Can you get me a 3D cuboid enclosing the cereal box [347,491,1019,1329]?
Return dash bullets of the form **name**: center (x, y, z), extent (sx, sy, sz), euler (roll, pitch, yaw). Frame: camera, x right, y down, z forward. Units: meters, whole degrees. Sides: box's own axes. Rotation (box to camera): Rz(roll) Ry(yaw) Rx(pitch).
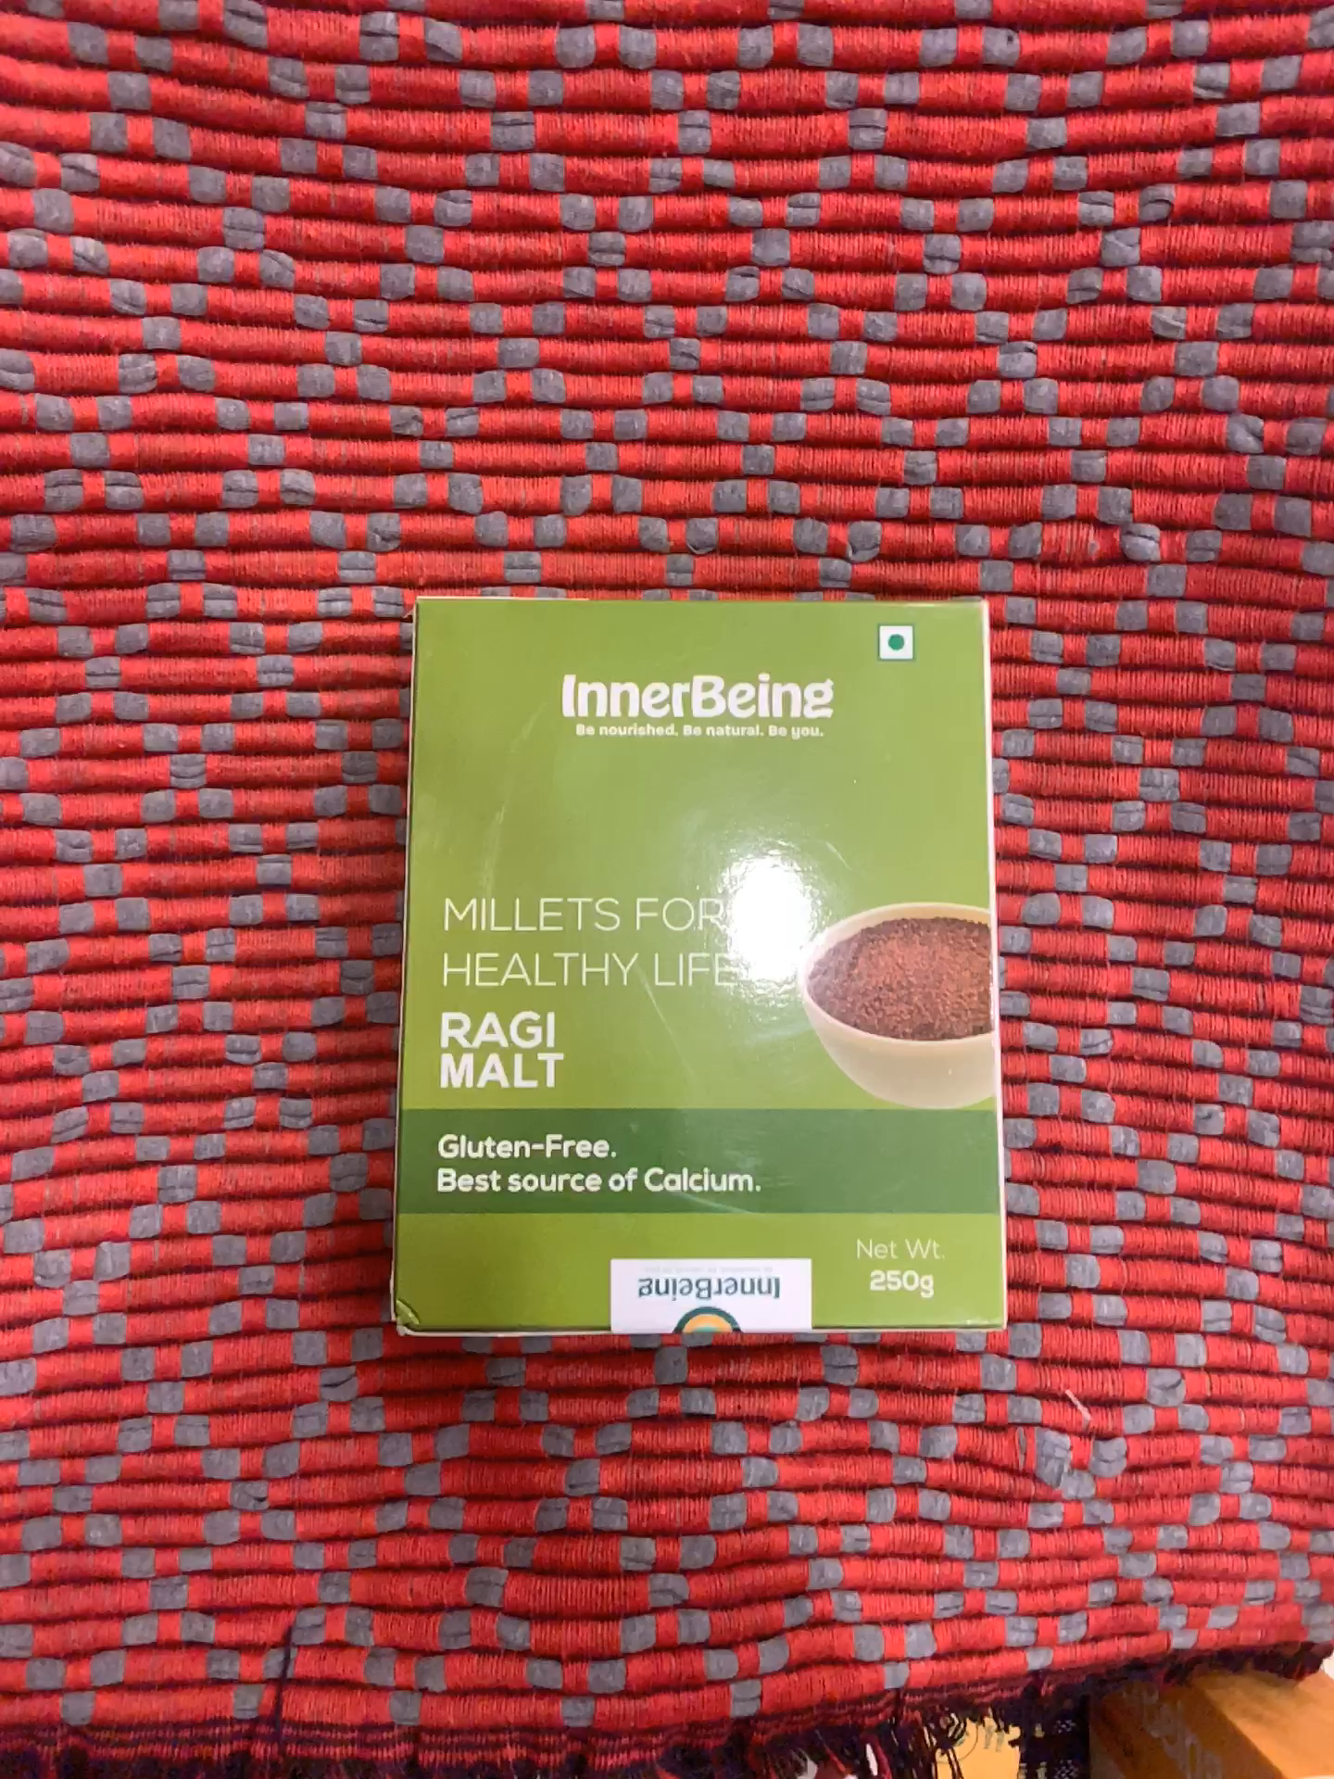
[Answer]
- **cereal box**: center (0.003, 0.004, 0.303), extent (0.130, 0.050, 0.170), euler (0, 82, -1)
